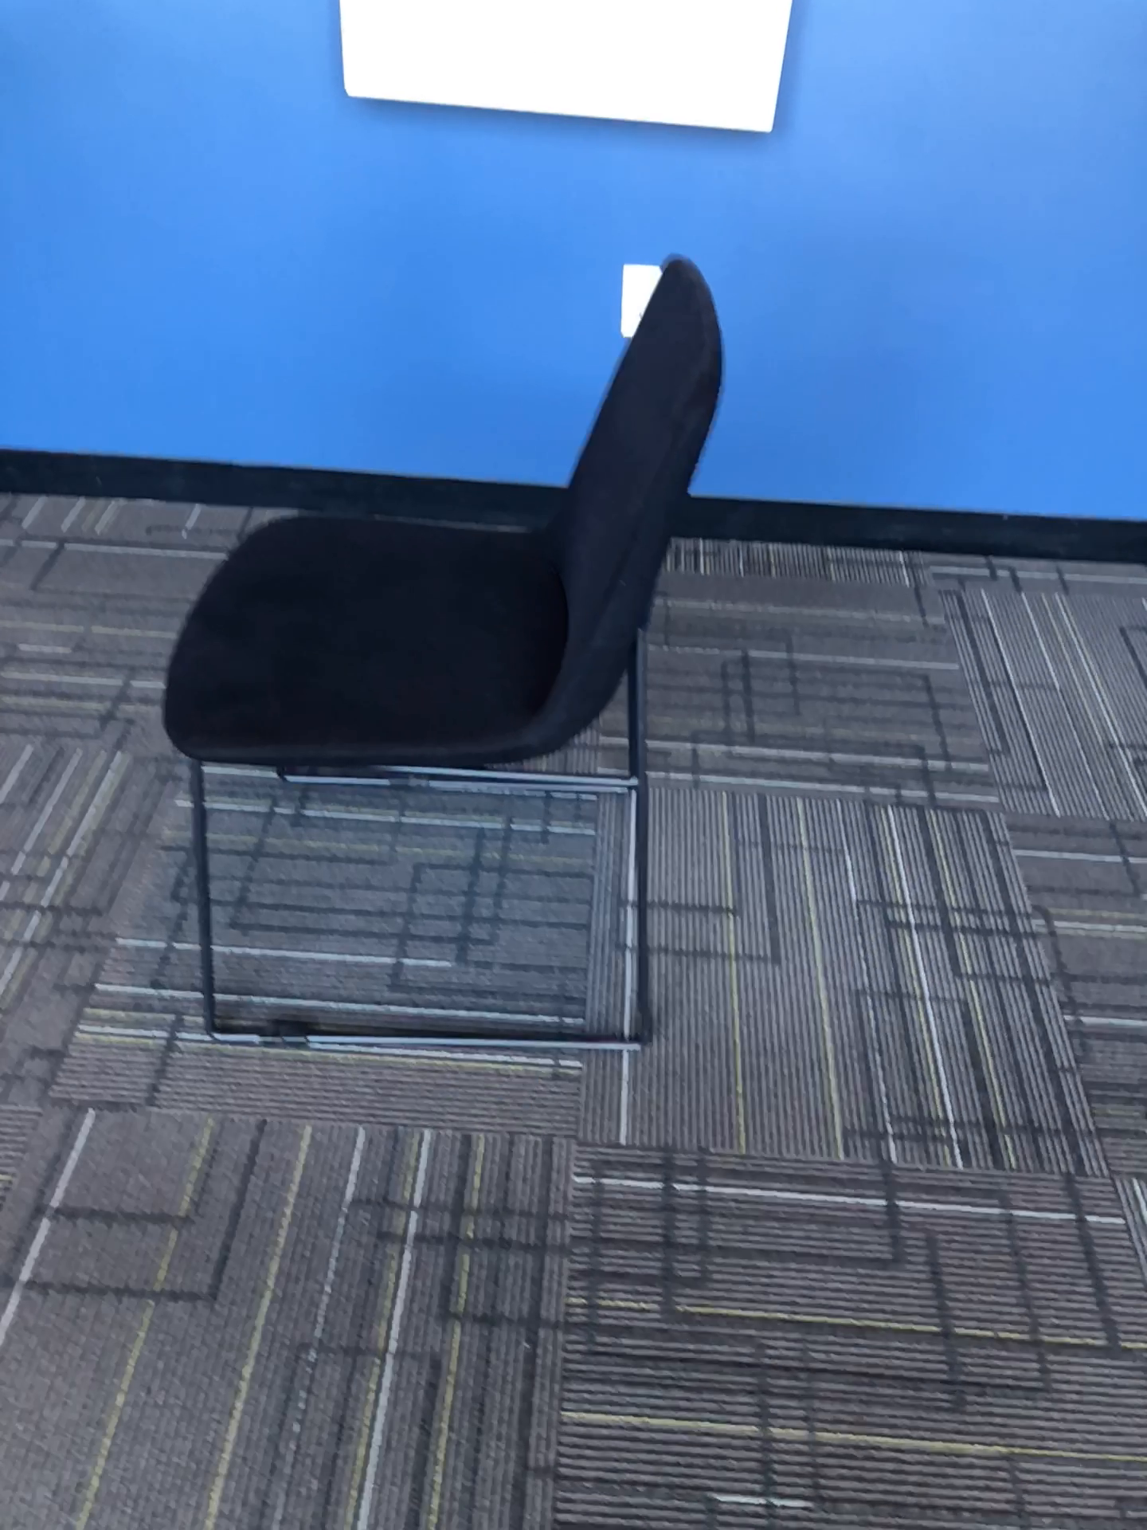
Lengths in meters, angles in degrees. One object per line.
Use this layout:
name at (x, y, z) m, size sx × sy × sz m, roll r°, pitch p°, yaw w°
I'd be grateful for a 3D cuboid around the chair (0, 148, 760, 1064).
chair at (-0.164, -0.150, 1.341) m, size 0.550 × 0.766 × 0.563 m, roll 1°, pitch 41°, yaw -2°
